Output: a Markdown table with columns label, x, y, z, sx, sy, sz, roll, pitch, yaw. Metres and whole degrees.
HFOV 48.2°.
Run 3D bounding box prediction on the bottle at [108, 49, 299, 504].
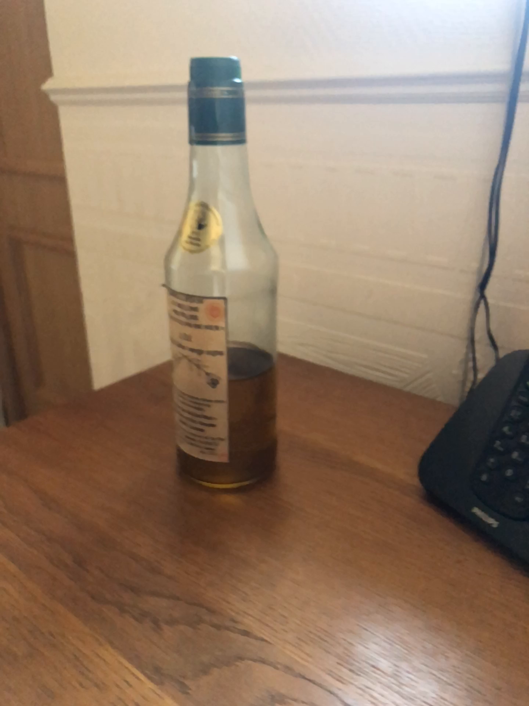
| label | x | y | z | sx | sy | sz | roll | pitch | yaw |
| --- | --- | --- | --- | --- | --- | --- | --- | --- | --- |
| bottle | -0.031 | -0.044 | 0.378 | 0.070 | 0.259 | 0.080 | 17 | 28 | 37 |
